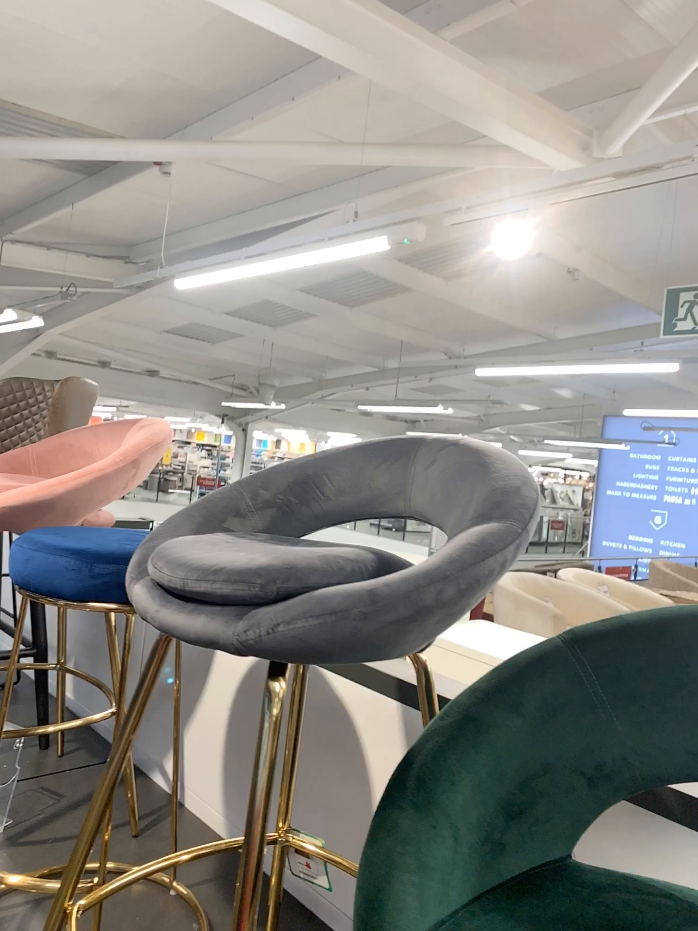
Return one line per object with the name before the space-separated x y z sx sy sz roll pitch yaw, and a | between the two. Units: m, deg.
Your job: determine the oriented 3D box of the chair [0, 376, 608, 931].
chair | -0.068 0.365 0.882 0.474 0.875 0.486 7 -1 -43
